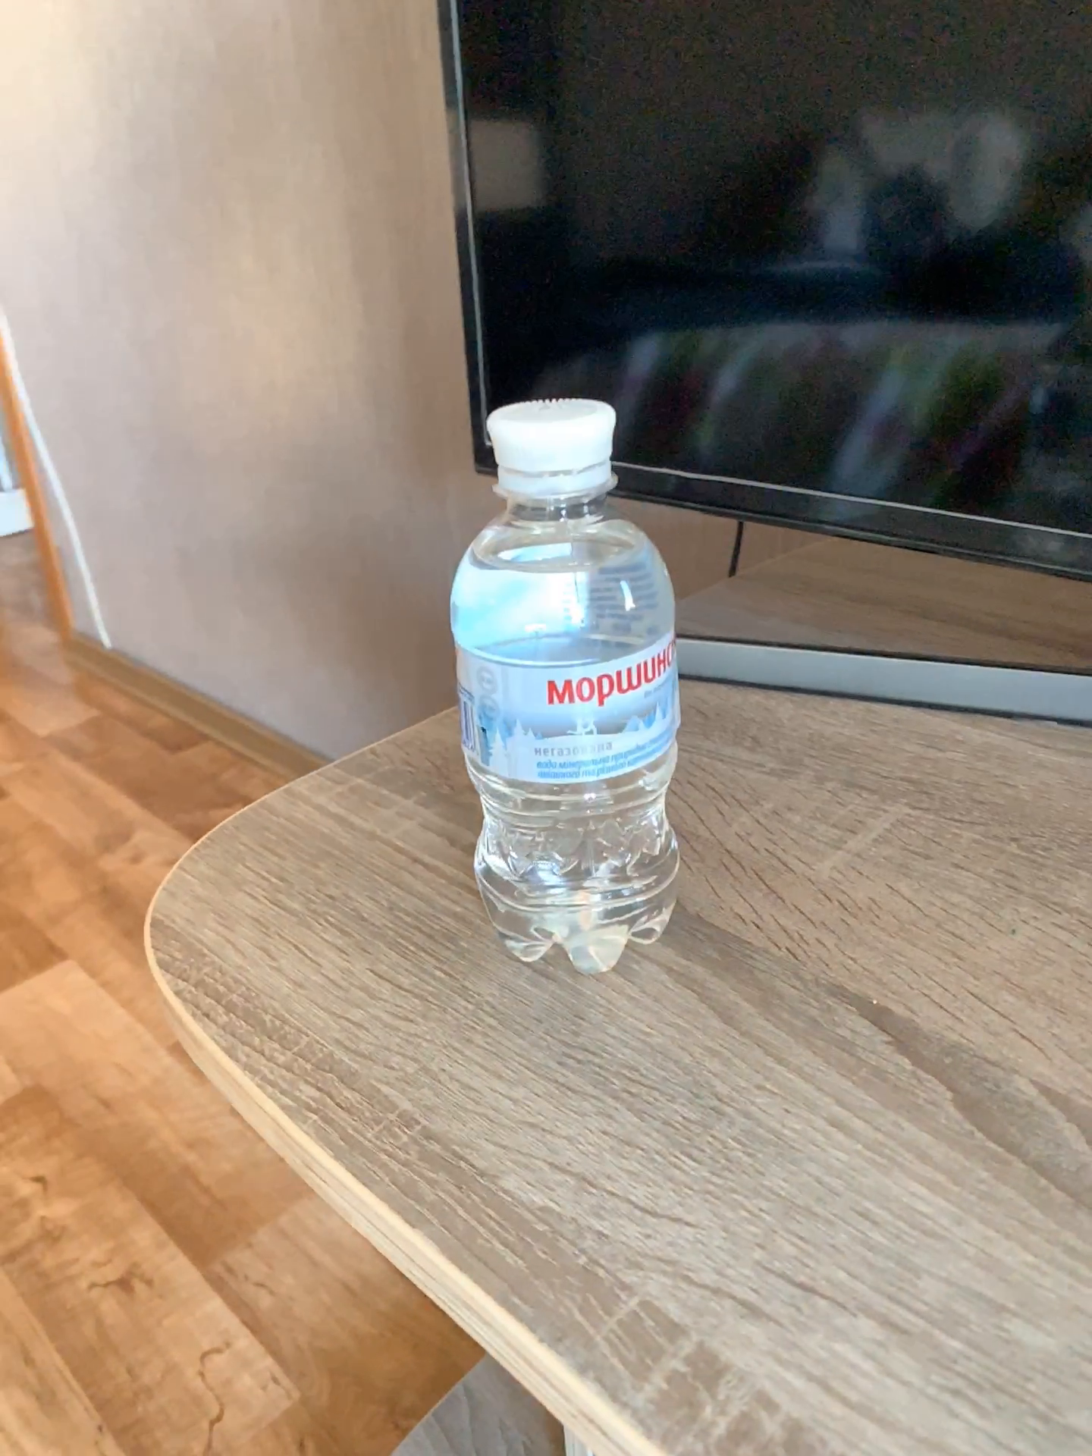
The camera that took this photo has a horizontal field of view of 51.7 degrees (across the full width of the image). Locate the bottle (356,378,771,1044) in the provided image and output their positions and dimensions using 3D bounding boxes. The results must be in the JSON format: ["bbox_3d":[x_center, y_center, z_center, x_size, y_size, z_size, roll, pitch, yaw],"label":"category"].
[{"bbox_3d":[0.007,-0.008,0.301,0.070,0.149,0.070,-2,26,1],"label":"bottle"}]
